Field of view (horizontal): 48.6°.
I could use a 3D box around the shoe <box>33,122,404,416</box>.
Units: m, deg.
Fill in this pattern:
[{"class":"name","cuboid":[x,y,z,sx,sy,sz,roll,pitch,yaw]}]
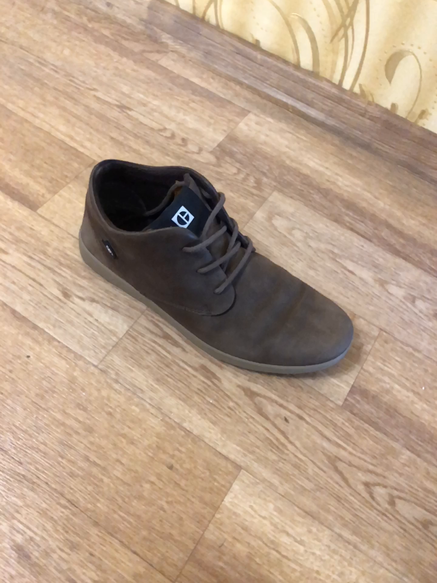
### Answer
[{"class":"shoe","cuboid":[-0.005,-0.019,0.416,0.270,0.110,0.100,28,59,9]}]
